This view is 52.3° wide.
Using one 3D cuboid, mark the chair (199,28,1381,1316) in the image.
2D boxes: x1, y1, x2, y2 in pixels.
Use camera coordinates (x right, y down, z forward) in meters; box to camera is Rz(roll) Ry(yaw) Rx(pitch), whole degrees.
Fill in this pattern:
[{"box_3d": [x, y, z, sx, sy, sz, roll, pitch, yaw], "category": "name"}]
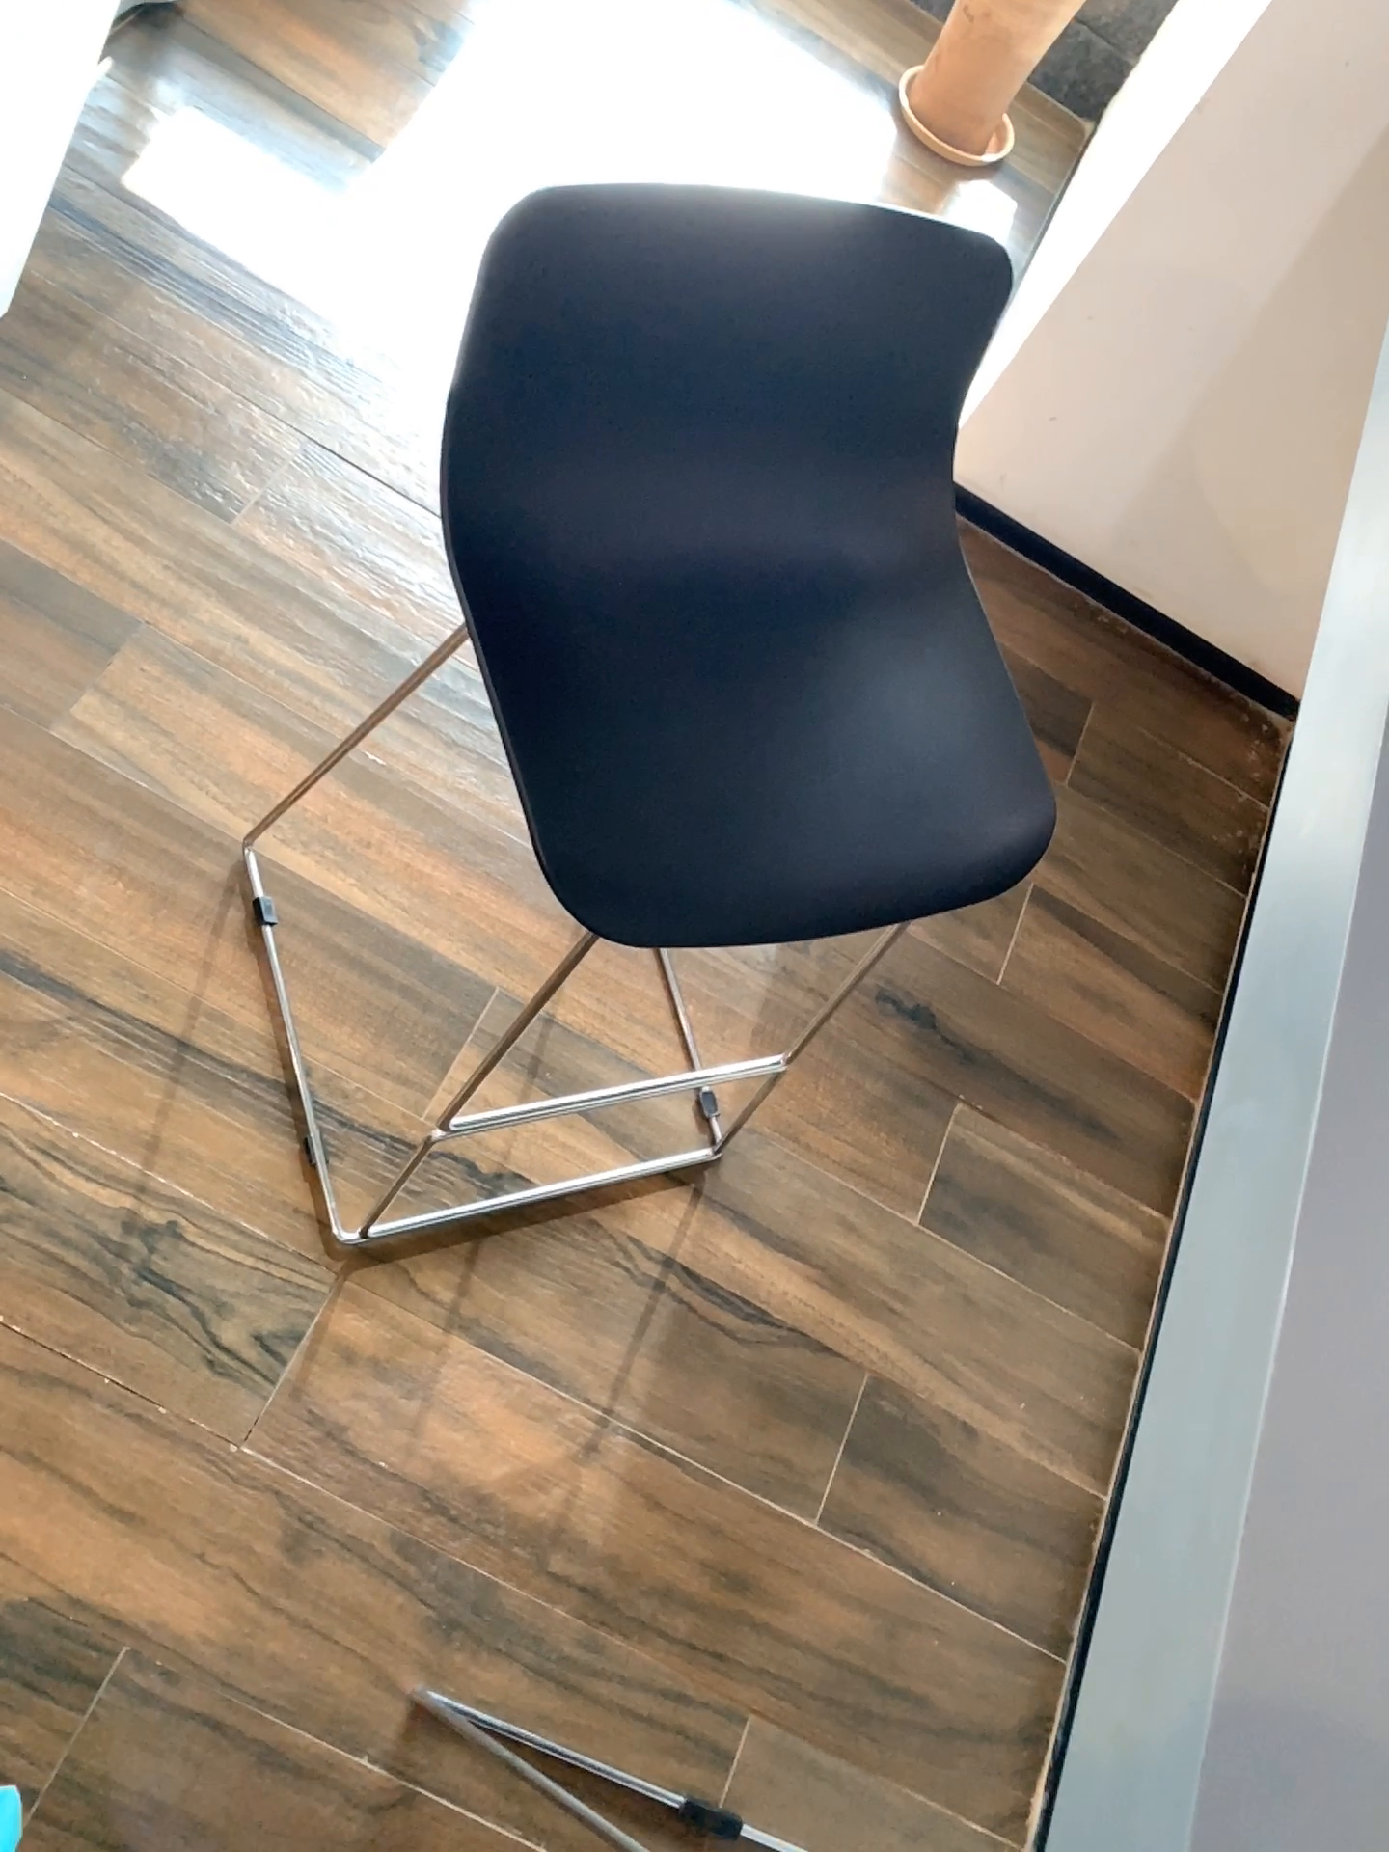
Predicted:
[{"box_3d": [-0.063, -0.110, 1.198, 0.541, 0.865, 0.592, -9, 70, -26], "category": "chair"}]
